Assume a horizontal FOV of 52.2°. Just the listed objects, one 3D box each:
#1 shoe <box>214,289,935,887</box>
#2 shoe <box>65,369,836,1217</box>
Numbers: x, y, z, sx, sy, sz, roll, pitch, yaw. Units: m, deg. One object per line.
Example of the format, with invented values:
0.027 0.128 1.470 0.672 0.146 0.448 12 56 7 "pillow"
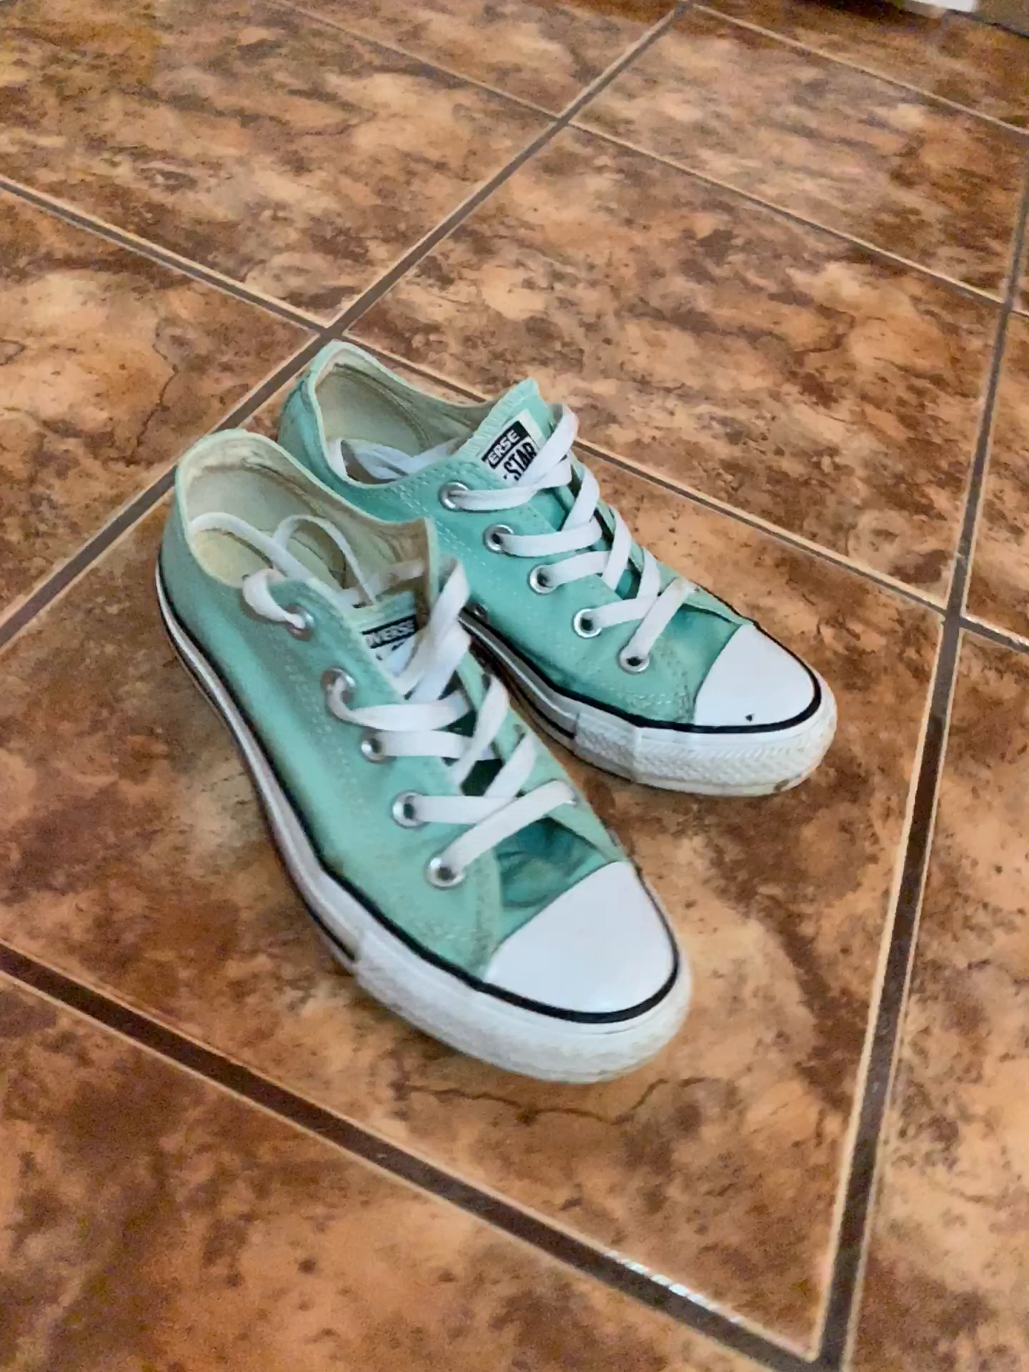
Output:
0.015 -0.044 0.397 0.243 0.084 0.095 31 49 11 "shoe"
-0.037 0.017 0.334 0.098 0.094 0.244 -25 61 -32 "shoe"
